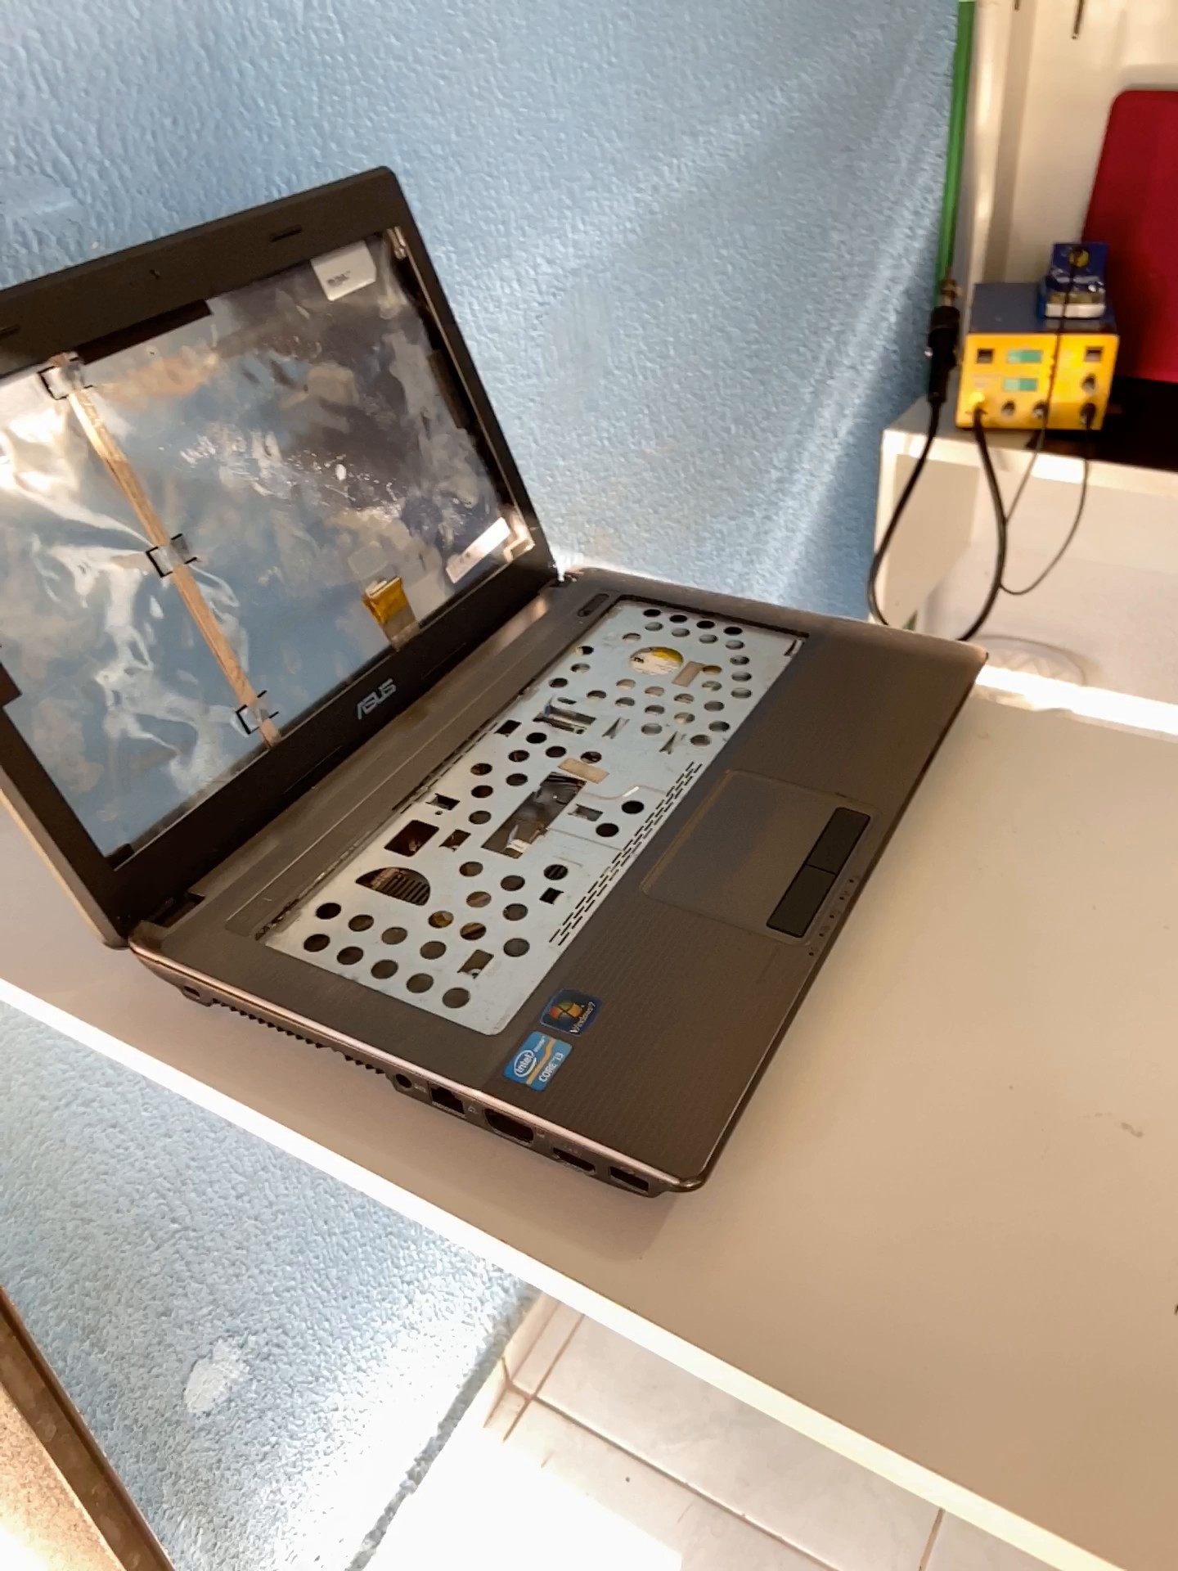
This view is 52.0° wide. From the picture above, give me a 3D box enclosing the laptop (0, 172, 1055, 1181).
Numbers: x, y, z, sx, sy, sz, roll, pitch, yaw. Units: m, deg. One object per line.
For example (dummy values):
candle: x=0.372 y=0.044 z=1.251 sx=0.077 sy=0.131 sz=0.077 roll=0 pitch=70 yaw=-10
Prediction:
laptop: x=-0.037 y=-0.096 z=0.484 sx=0.327 sy=0.202 sz=0.338 roll=16 pitch=40 yaw=25
